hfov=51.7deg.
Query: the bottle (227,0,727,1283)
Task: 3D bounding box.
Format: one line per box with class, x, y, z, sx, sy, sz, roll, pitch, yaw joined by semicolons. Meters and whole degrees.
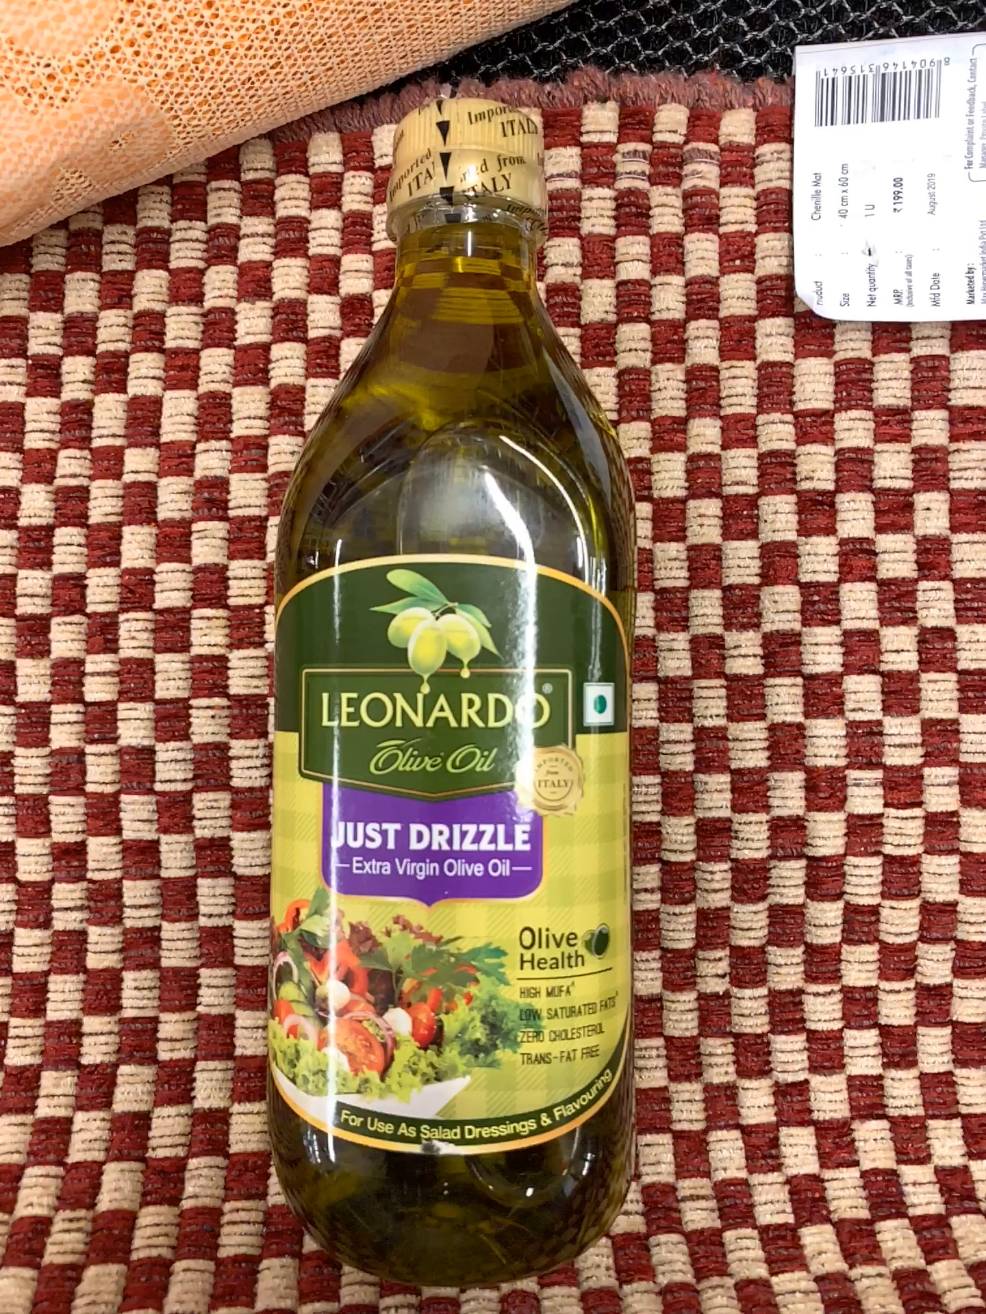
bottle;-0.004;-0.012;0.213;0.080;0.070;0.240;2;88;-6
